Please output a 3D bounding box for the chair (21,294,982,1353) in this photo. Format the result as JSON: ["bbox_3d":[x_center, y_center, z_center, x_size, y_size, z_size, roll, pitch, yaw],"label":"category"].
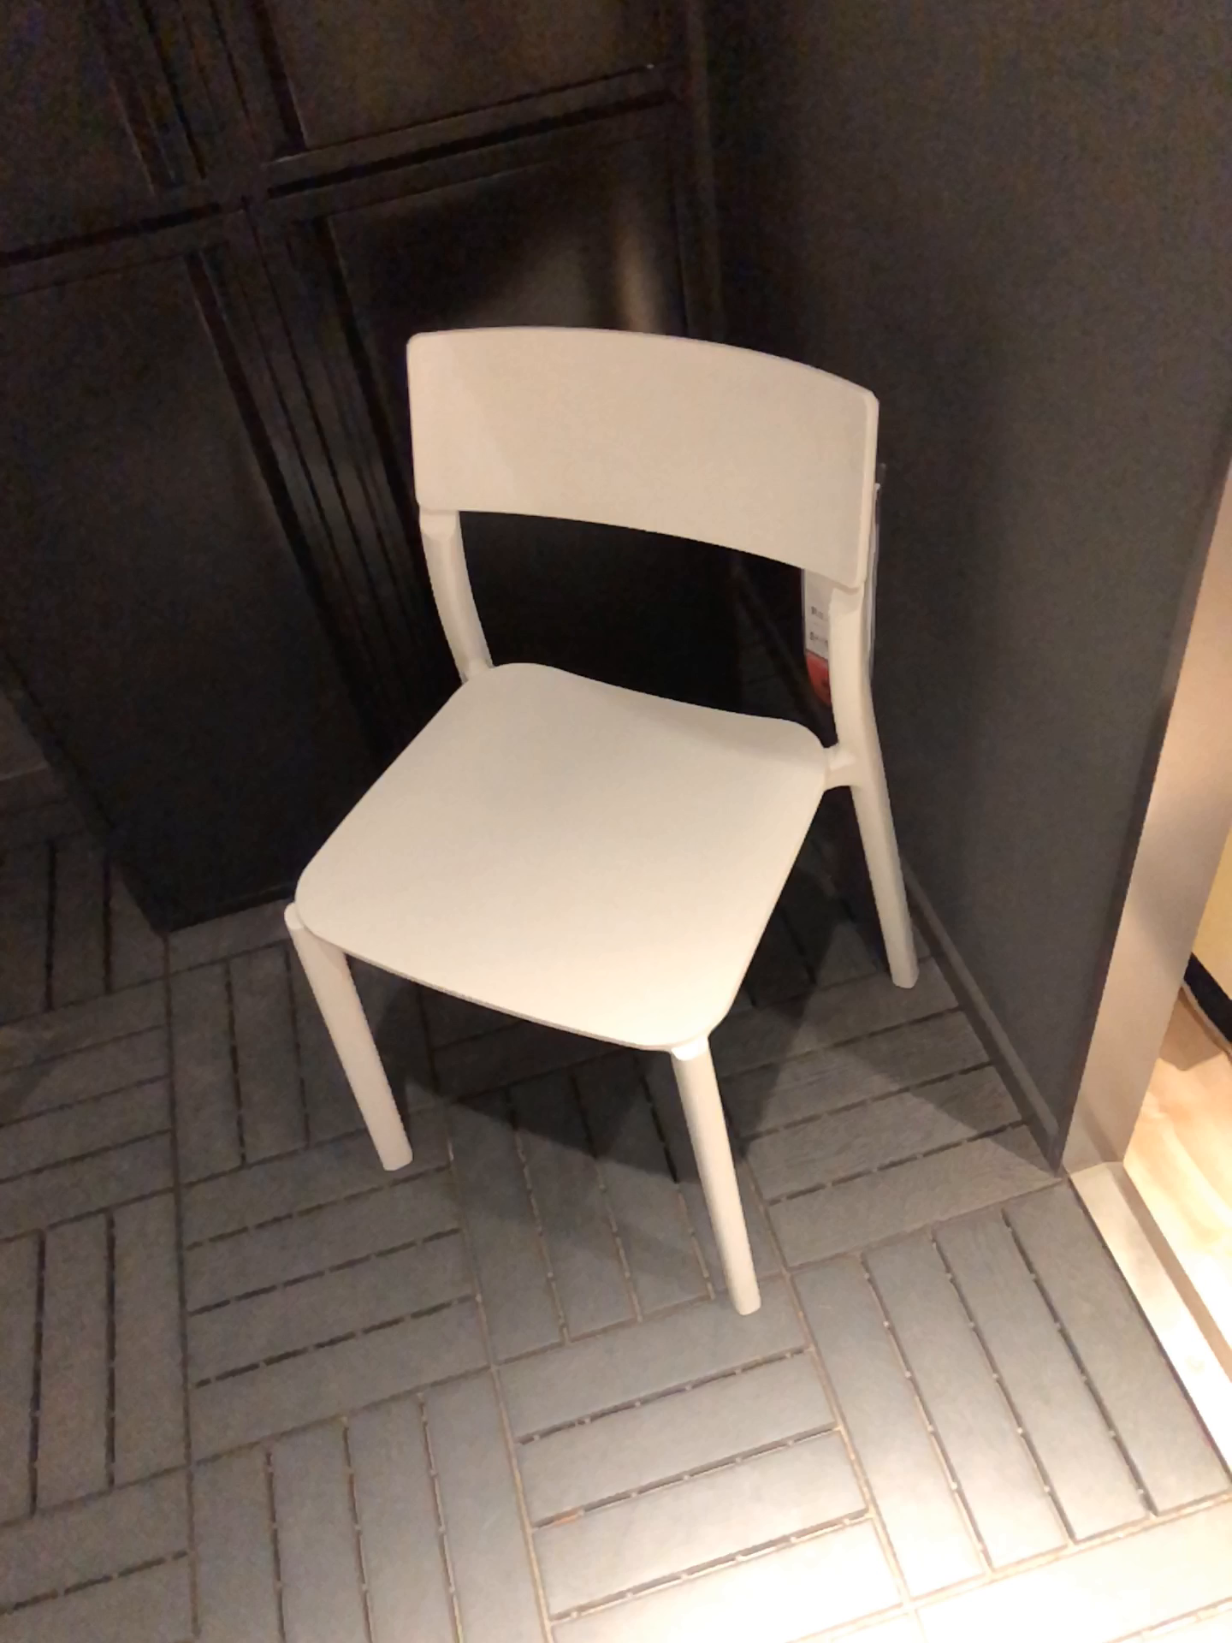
[{"bbox_3d":[-0.021,0.014,1.182,0.501,0.706,0.472,16,53,22],"label":"chair"}]
